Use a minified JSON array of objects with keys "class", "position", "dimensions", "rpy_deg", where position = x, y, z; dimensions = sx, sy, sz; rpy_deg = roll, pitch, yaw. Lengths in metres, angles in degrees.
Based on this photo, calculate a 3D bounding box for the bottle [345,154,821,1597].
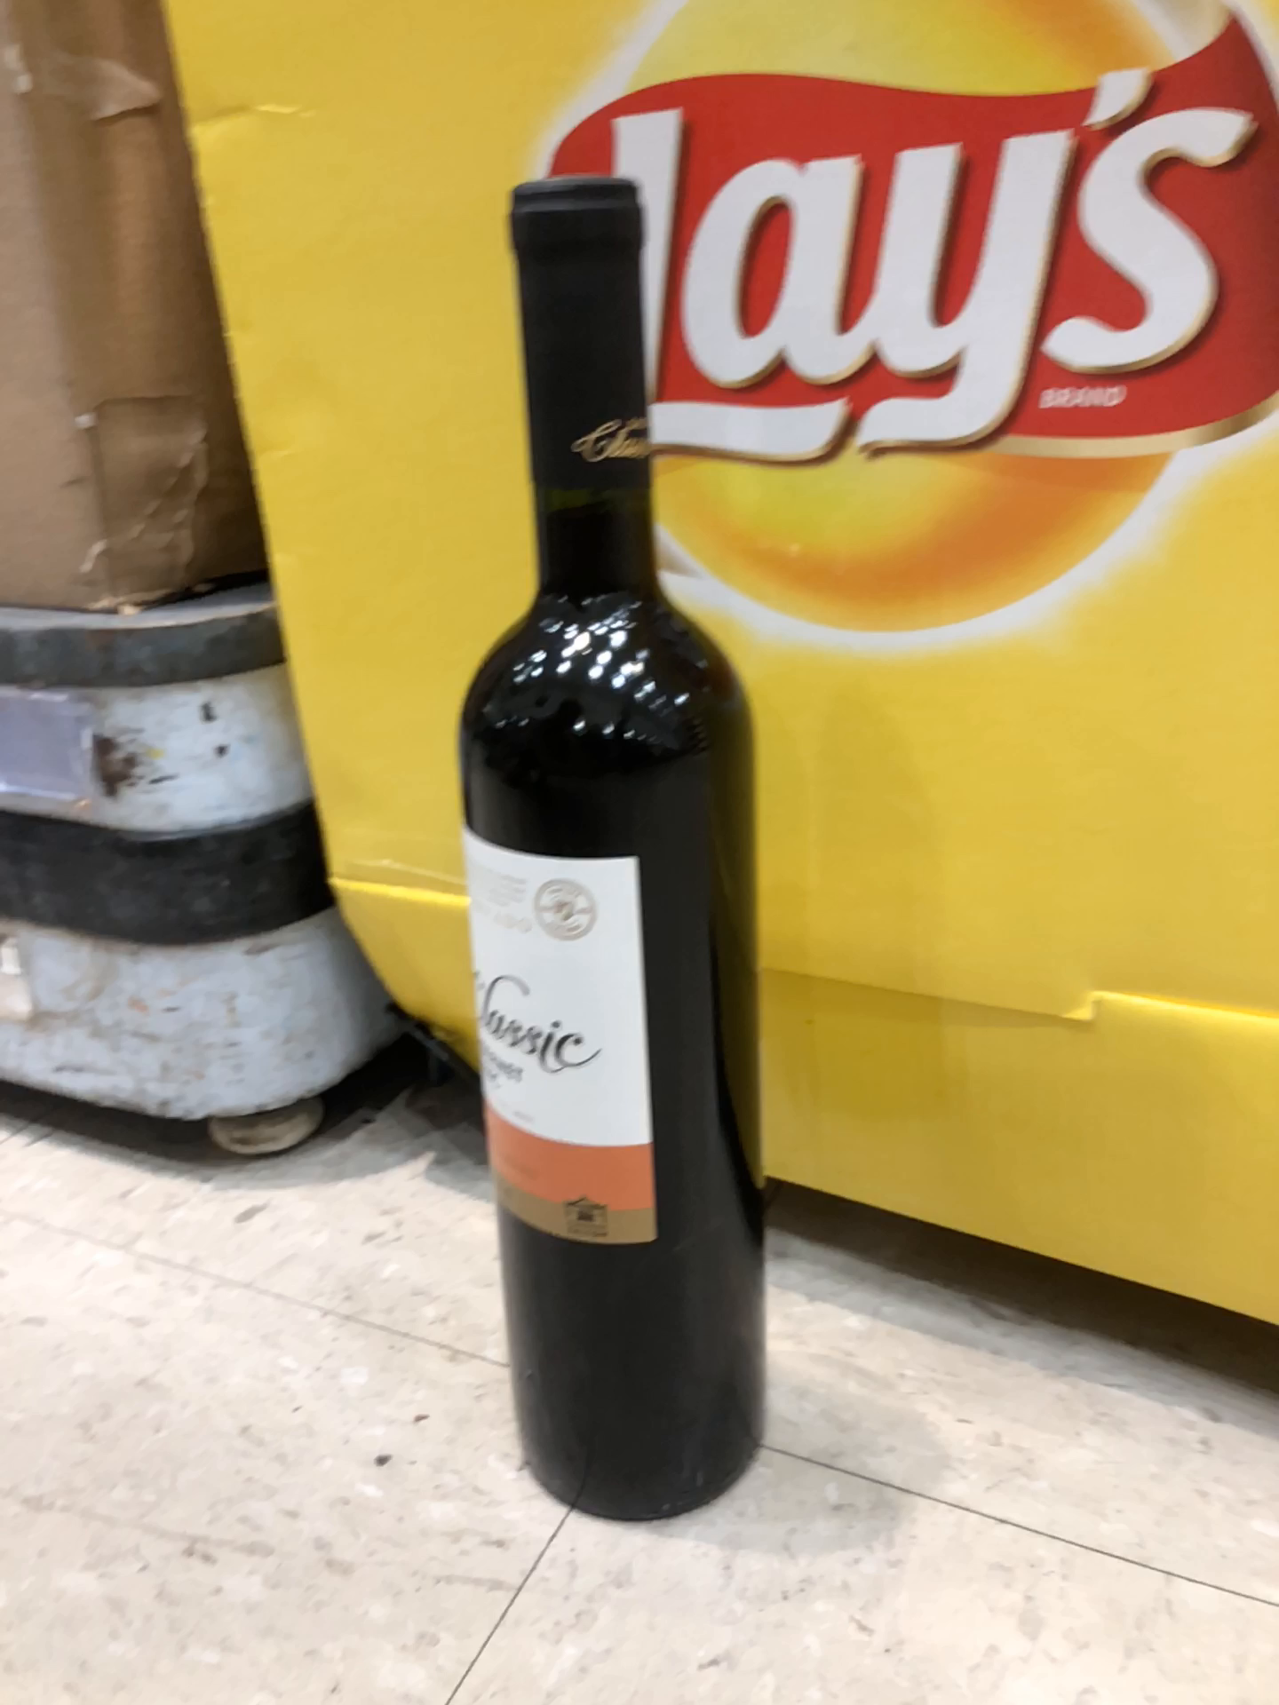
[{"class":"bottle","position":[-0.005,0.016,0.335],"dimensions":[0.060,0.318,0.070],"rpy_deg":[-19,25,-35]}]
